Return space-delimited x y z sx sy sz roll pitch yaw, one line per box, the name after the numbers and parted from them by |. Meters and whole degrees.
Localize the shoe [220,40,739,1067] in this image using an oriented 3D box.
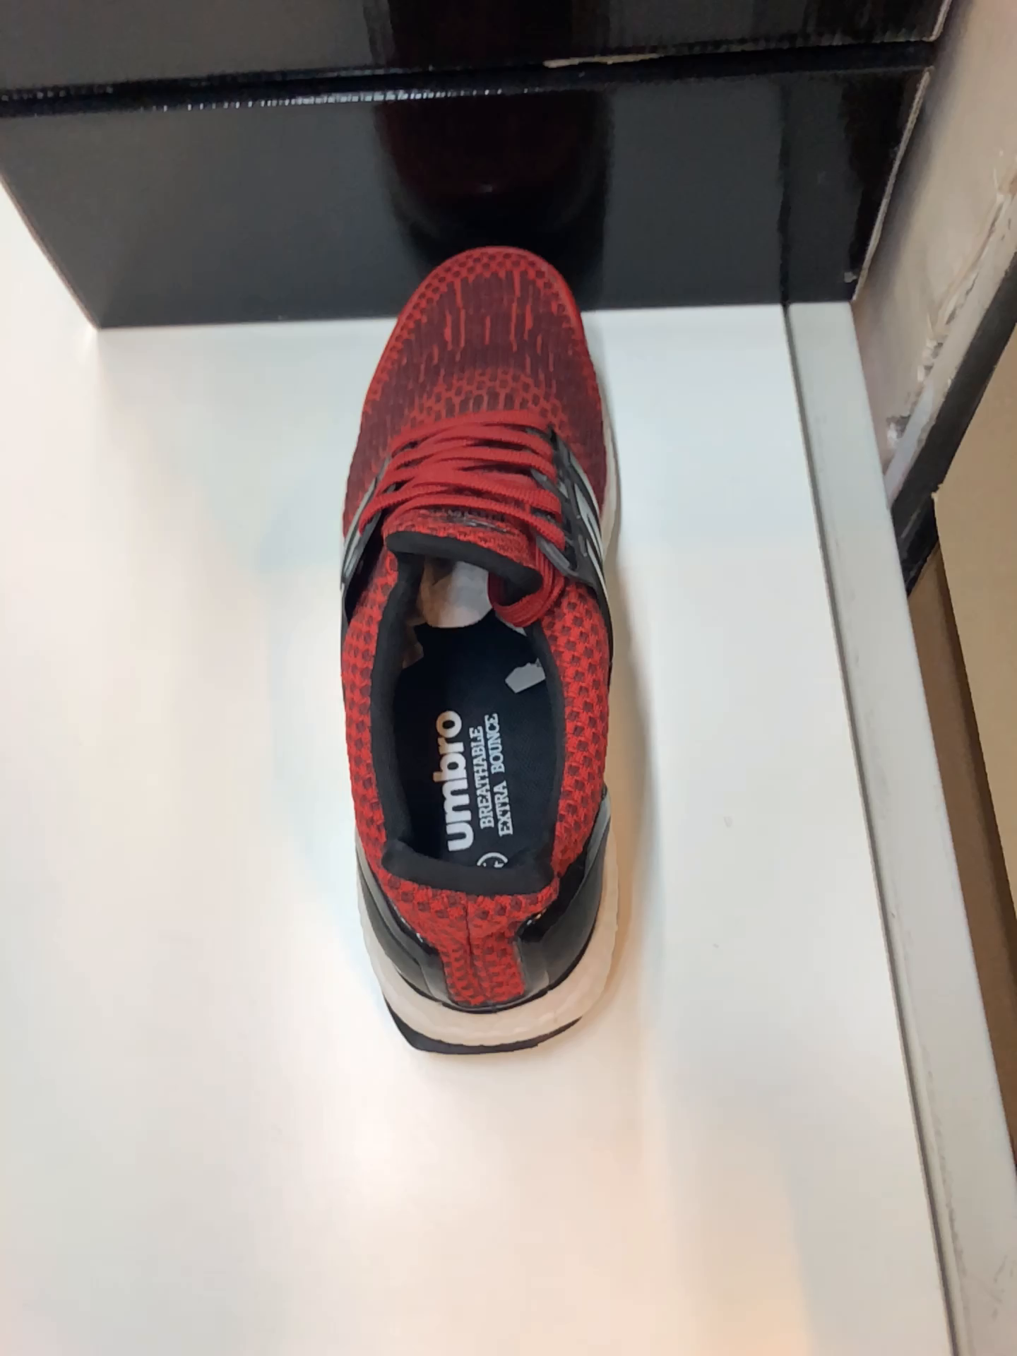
-0.008 -0.037 0.343 0.111 0.108 0.286 -3 69 3 | shoe
